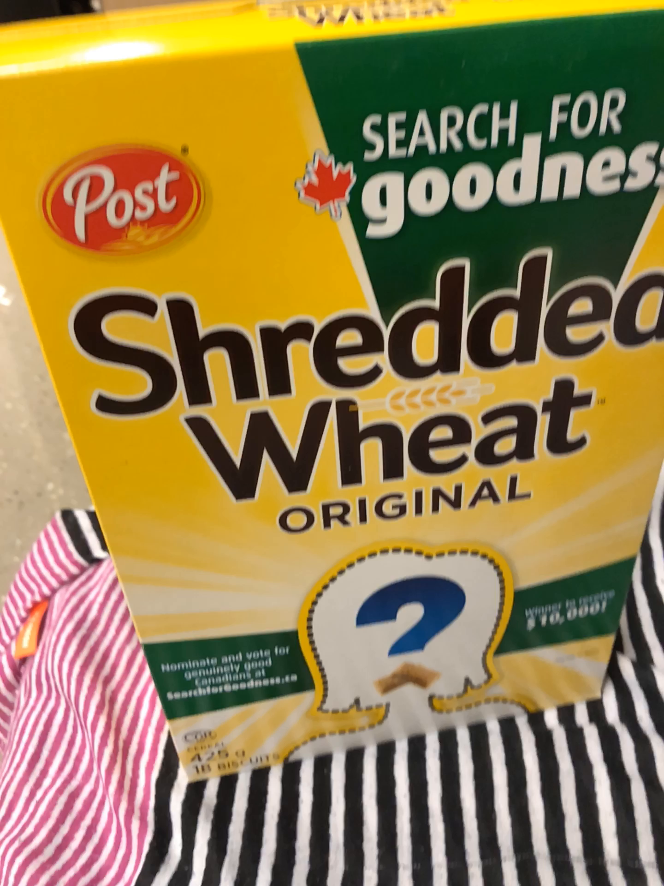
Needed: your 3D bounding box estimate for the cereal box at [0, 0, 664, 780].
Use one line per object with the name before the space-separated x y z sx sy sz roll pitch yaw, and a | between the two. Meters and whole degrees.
cereal box | 0.011 -0.013 0.263 0.210 0.269 0.080 -9 37 -6
